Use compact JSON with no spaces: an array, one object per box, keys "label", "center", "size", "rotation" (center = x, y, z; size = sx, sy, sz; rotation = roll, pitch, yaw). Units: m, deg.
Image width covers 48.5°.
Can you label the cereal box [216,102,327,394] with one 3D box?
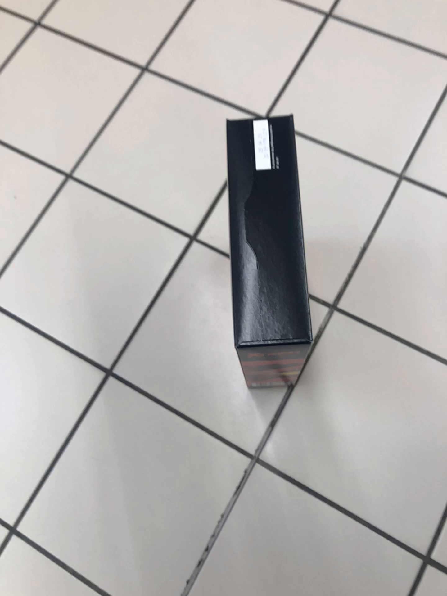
[{"label":"cereal box","center":[0.043,-0.022,0.487],"size":[0.070,0.250,0.200],"rotation":[-3,72,4]}]
